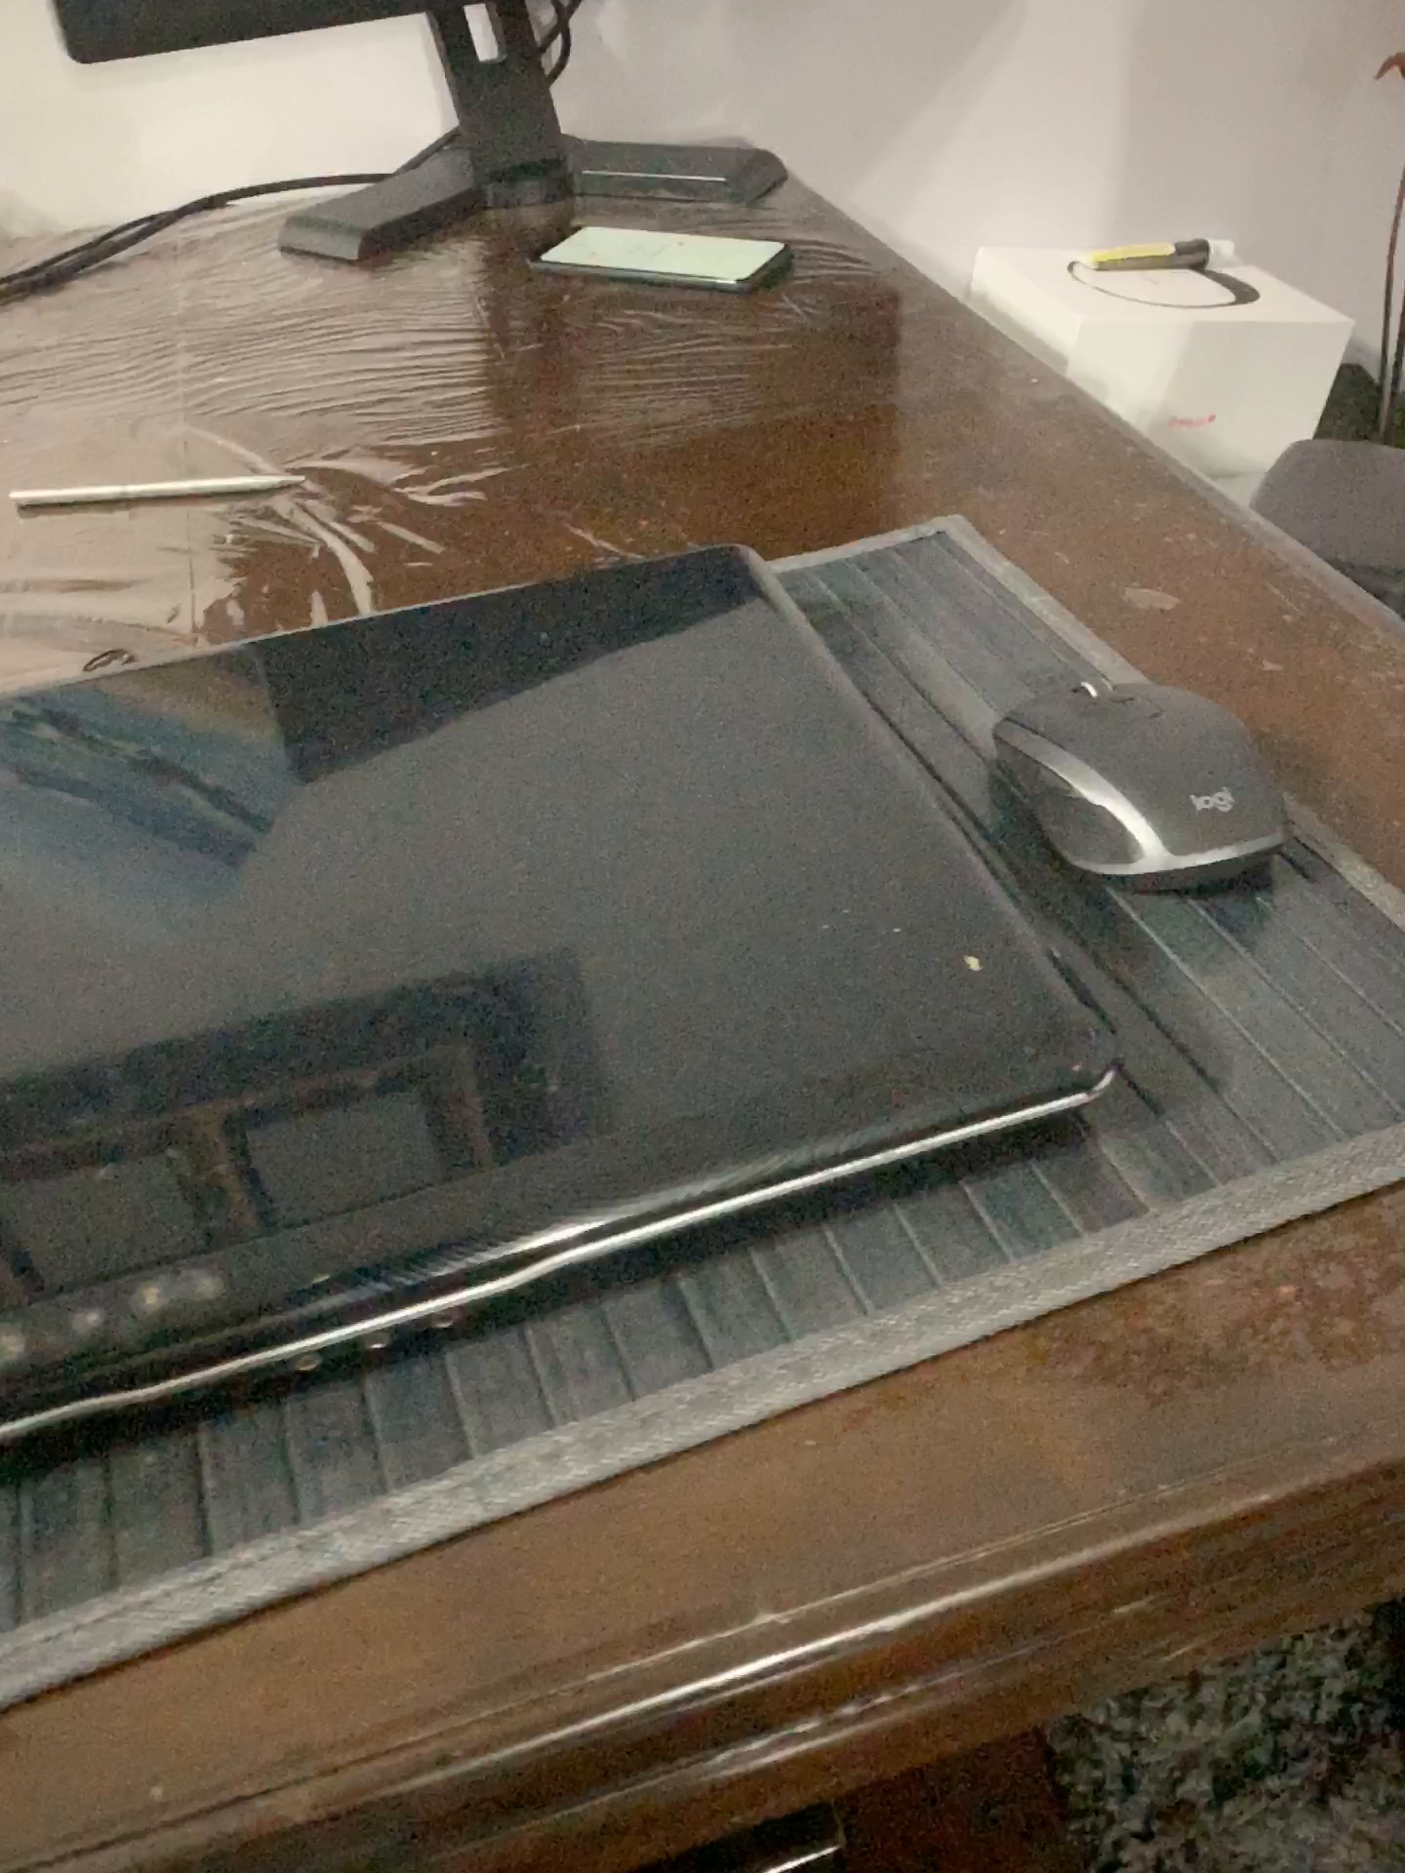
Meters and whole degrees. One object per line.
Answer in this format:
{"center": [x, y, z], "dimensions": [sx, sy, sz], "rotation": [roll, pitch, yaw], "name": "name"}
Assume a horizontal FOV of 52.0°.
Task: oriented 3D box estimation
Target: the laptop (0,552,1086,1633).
{"center": [-0.111, -0.006, 0.355], "dimensions": [0.339, 0.009, 0.232], "rotation": [-14, 45, -14], "name": "laptop"}
